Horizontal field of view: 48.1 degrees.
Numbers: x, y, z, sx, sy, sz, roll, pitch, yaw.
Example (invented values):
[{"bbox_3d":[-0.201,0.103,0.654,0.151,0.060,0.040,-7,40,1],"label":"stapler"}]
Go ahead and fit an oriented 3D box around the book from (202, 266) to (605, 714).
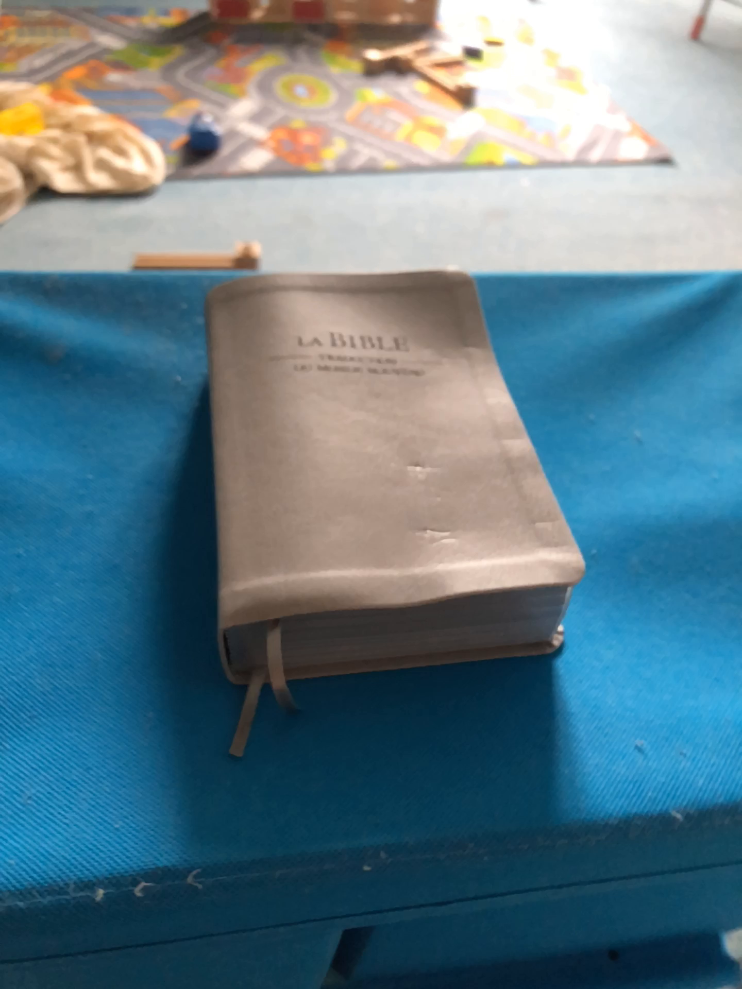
[{"bbox_3d":[-0.001,-0.015,0.331,0.121,0.051,0.181,-4,49,-9],"label":"book"}]
